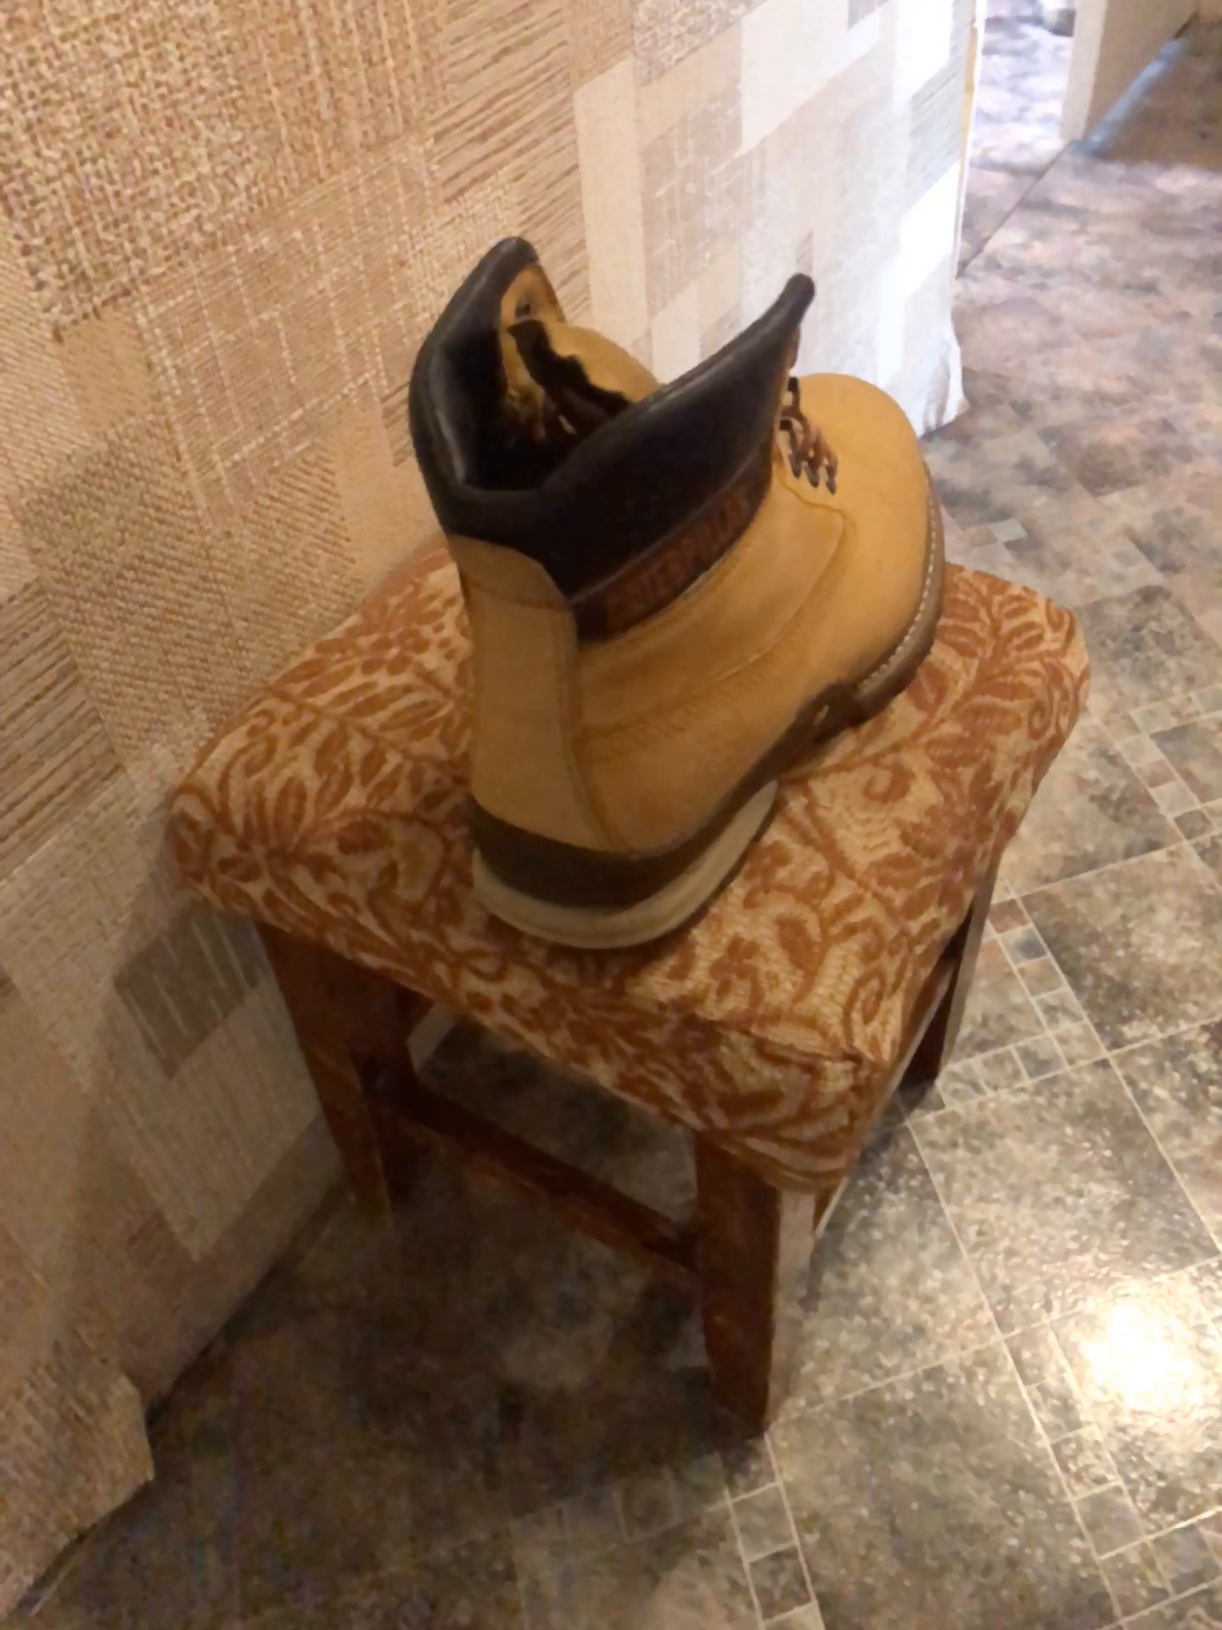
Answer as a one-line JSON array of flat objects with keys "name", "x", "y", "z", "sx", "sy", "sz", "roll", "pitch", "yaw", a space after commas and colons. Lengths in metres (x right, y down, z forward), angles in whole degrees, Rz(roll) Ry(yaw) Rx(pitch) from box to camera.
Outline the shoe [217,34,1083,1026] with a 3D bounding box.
[{"name": "shoe", "x": 0.036, "y": -0.114, "z": 0.463, "sx": 0.130, "sy": 0.189, "sz": 0.291, "roll": 20, "pitch": 50, "yaw": 23}]
